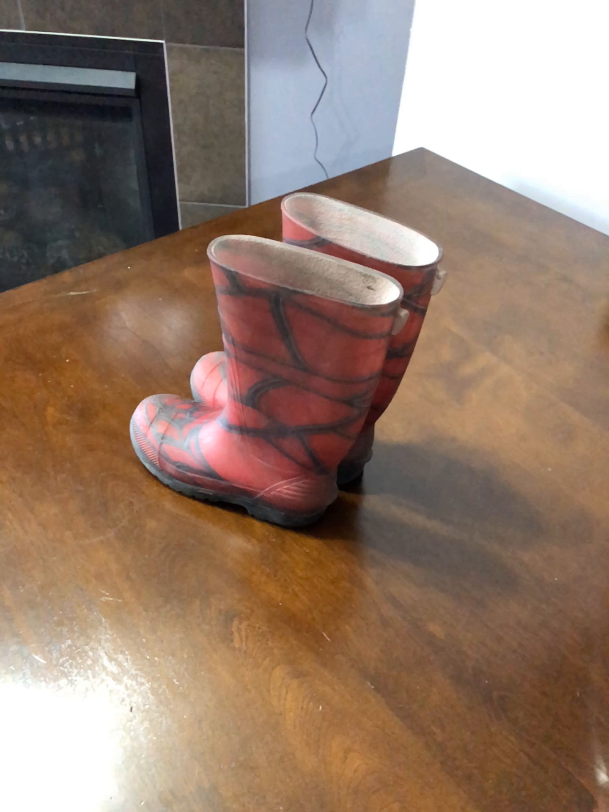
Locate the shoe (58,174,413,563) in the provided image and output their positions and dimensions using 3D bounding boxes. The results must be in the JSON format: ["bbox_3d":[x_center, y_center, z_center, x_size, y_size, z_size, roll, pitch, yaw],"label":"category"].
[{"bbox_3d":[-0.053,-0.022,0.519,0.220,0.239,0.080,22,47,17],"label":"shoe"}]

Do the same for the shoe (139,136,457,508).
[{"bbox_3d":[-0.015,-0.066,0.564,0.220,0.239,0.080,26,48,21],"label":"shoe"}]
